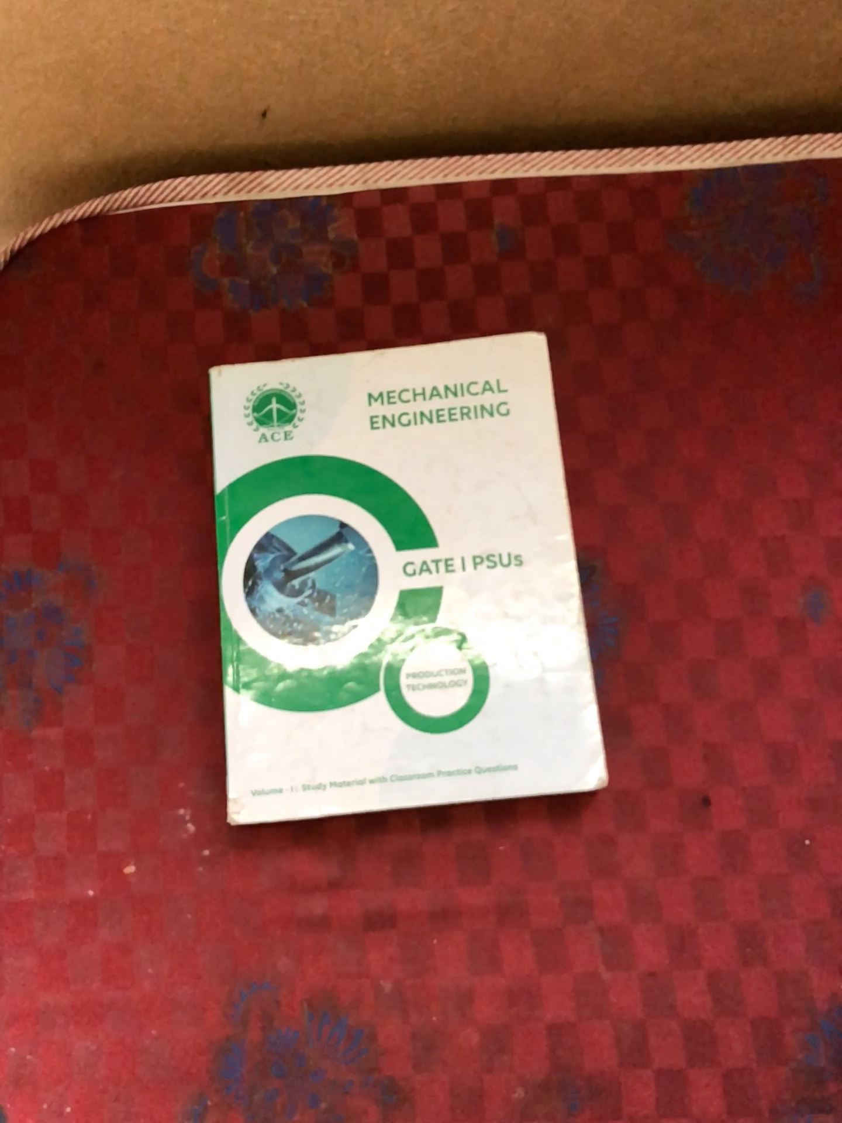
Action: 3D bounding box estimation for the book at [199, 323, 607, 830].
[{"bbox_3d":[-0.018,0.003,0.555,0.210,0.030,0.280,-6,75,0],"label":"book"}]
